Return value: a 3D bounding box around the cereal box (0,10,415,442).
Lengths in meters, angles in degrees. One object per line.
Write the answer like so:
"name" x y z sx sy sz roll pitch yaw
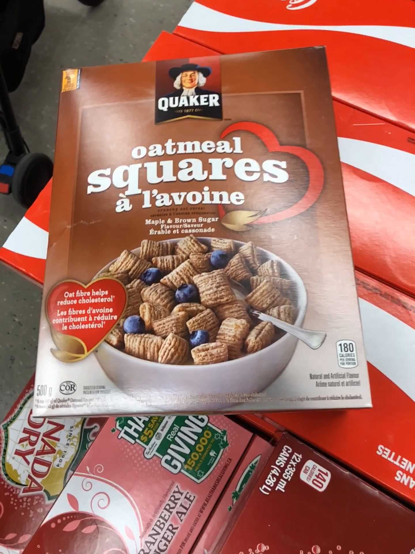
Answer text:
"cereal box" -0.009 -0.043 0.324 0.240 0.050 0.290 -3 73 3
